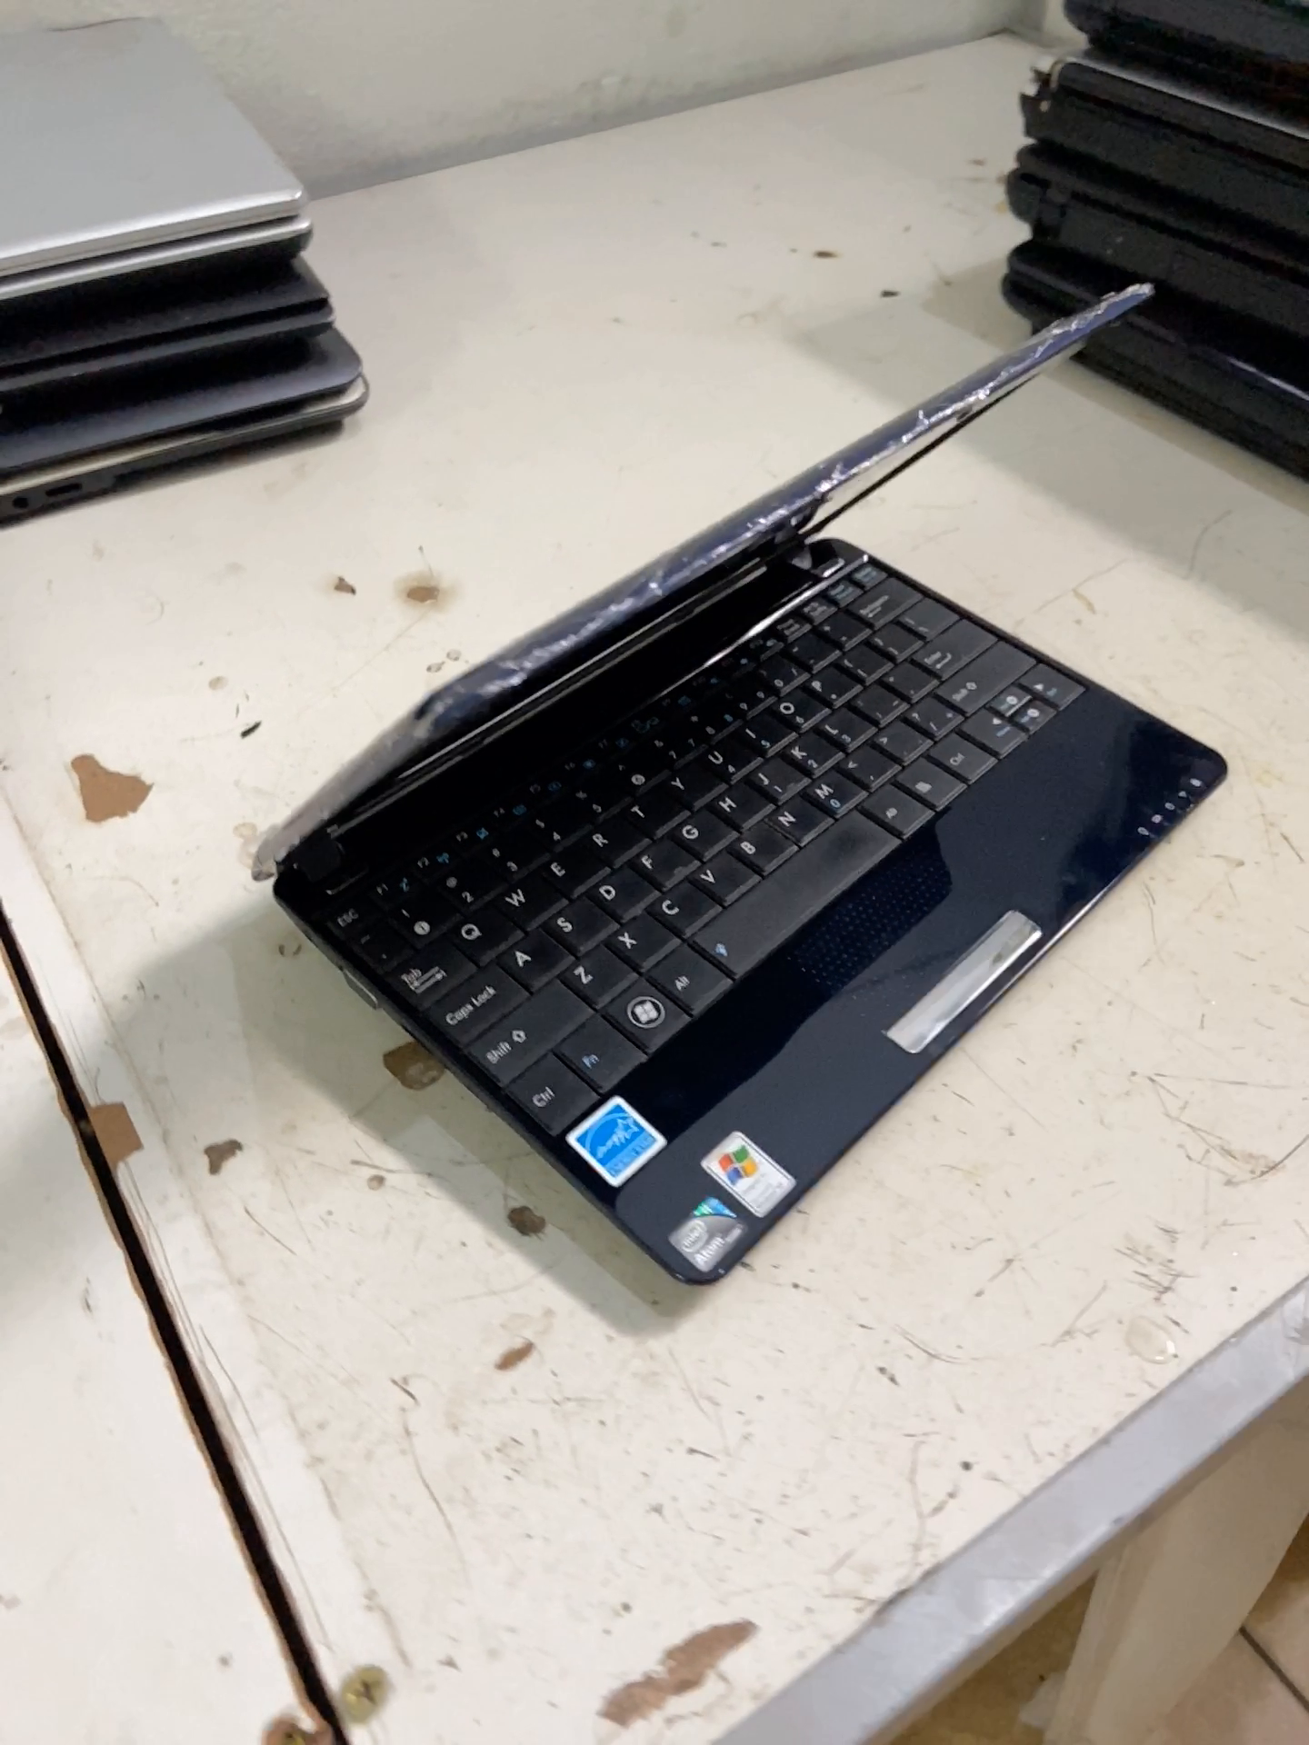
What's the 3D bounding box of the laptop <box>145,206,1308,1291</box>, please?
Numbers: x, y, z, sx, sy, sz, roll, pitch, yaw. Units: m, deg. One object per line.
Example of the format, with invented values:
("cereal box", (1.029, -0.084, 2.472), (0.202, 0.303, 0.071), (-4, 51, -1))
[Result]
("laptop", (0.037, -0.058, 0.375), (0.170, 0.121, 0.259), (36, 55, 27))
